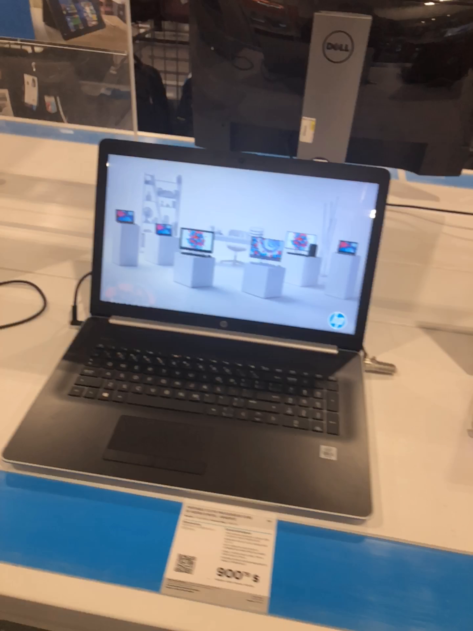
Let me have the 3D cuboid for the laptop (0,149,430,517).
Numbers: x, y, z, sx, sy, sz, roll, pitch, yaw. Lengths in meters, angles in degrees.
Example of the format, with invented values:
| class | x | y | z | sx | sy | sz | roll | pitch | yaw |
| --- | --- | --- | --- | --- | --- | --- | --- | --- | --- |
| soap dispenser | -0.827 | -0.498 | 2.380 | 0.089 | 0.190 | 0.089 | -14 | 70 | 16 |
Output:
| class | x | y | z | sx | sy | sz | roll | pitch | yaw |
| --- | --- | --- | --- | --- | --- | --- | --- | --- | --- |
| laptop | -0.030 | -0.015 | 0.664 | 0.411 | 0.242 | 0.382 | 7 | 35 | 5 |
